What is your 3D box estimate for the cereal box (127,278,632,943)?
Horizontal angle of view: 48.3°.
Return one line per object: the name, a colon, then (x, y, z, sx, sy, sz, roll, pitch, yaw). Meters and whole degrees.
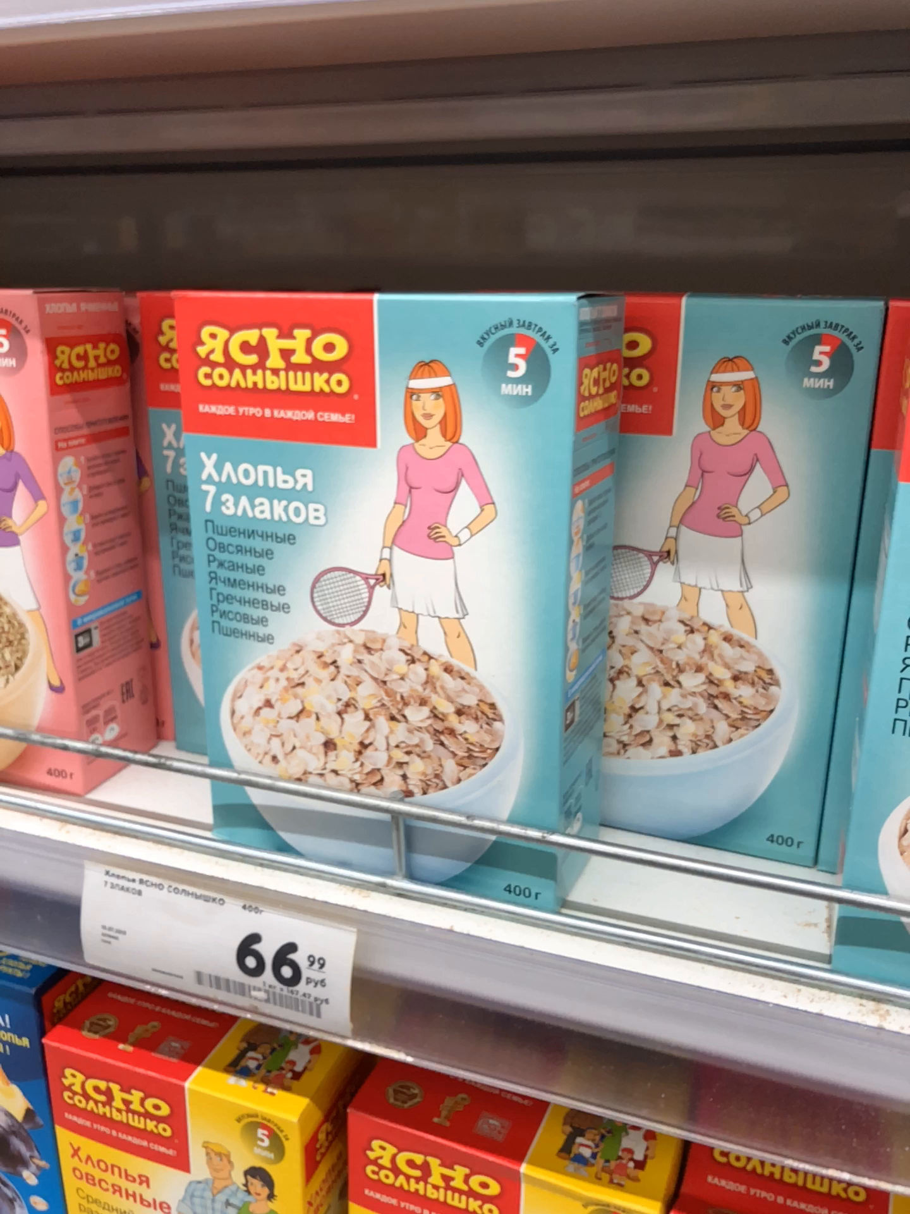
cereal box: (-0.024, -0.005, 0.325, 0.140, 0.189, 0.050, 7, 18, 21)
